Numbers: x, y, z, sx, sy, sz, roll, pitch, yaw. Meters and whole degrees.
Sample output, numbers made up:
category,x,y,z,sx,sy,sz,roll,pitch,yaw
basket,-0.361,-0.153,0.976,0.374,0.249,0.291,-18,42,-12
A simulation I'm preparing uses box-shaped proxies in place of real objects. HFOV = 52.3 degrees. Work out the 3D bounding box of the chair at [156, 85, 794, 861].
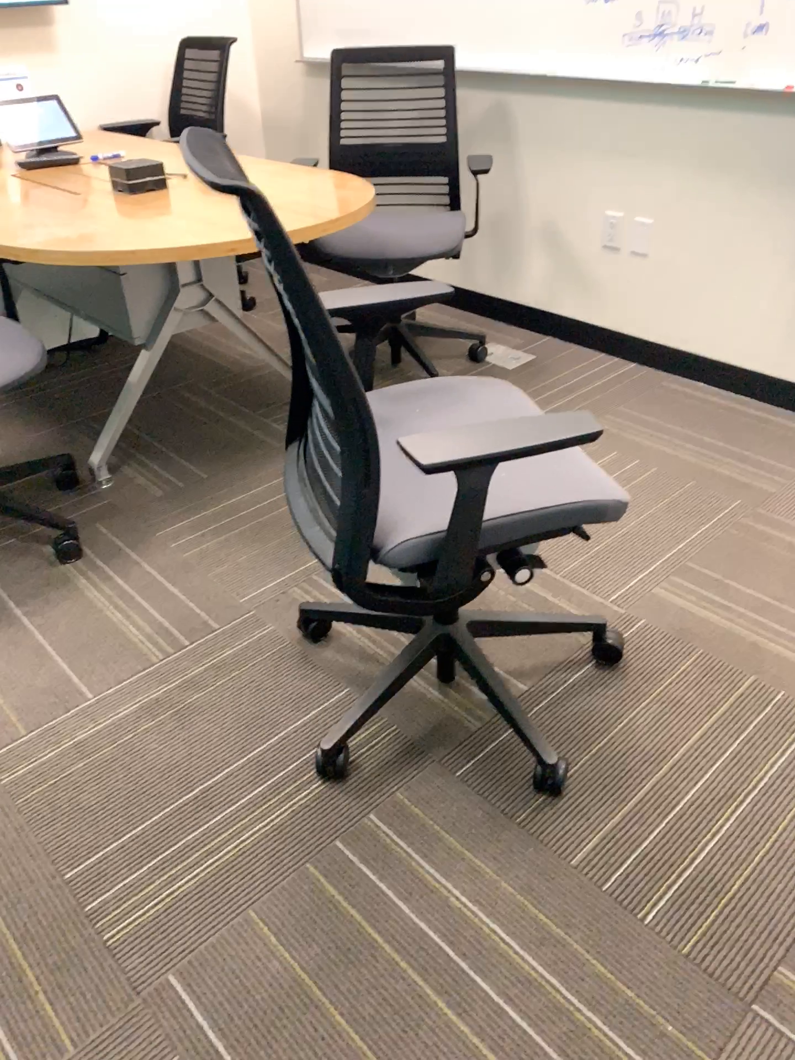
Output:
category,x,y,z,sx,sy,sz,roll,pitch,yaw
chair,0.055,-0.120,1.340,0.690,0.994,0.654,-10,34,-11
